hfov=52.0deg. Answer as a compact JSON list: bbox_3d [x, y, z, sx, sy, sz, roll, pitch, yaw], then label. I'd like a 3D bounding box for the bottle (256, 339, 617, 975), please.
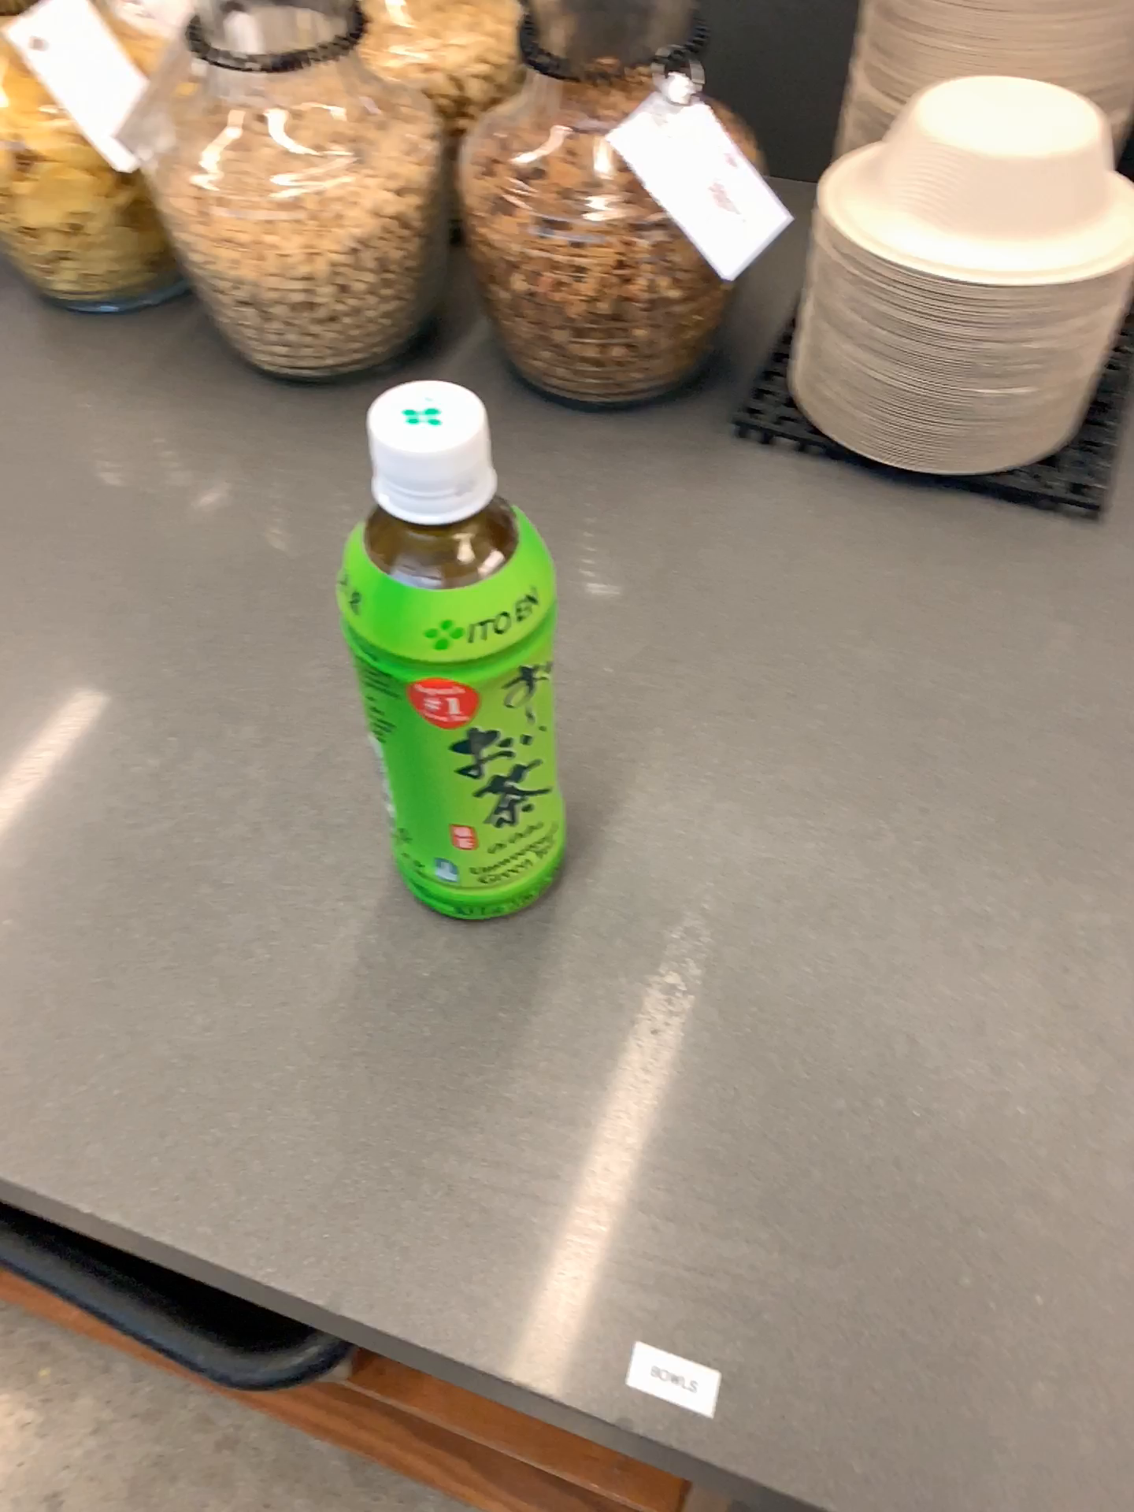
[{"bbox_3d":[-0.034,-0.019,0.381,0.070,0.199,0.070,-1,51,1],"label":"bottle"}]
